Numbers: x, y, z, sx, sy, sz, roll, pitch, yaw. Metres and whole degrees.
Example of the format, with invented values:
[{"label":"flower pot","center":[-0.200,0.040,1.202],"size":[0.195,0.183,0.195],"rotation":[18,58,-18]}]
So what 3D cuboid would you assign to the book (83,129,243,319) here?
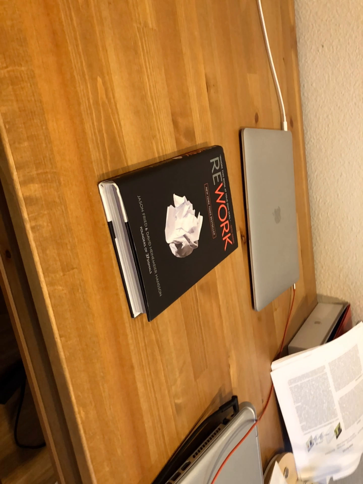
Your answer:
[{"label":"book","center":[-0.002,-0.037,0.493],"size":[0.231,0.040,0.160],"rotation":[-34,118,-51]}]
